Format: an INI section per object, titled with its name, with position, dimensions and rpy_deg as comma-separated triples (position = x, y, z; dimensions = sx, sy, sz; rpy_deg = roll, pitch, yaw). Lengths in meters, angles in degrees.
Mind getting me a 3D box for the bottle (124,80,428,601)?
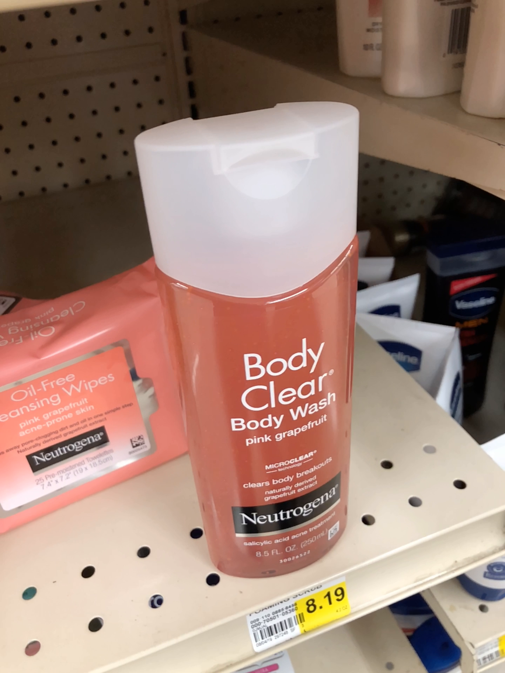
[bottle]
position = 0.010, 0.019, 0.200
dimensions = 0.070, 0.189, 0.030
rpy_deg = -14, 39, -13
